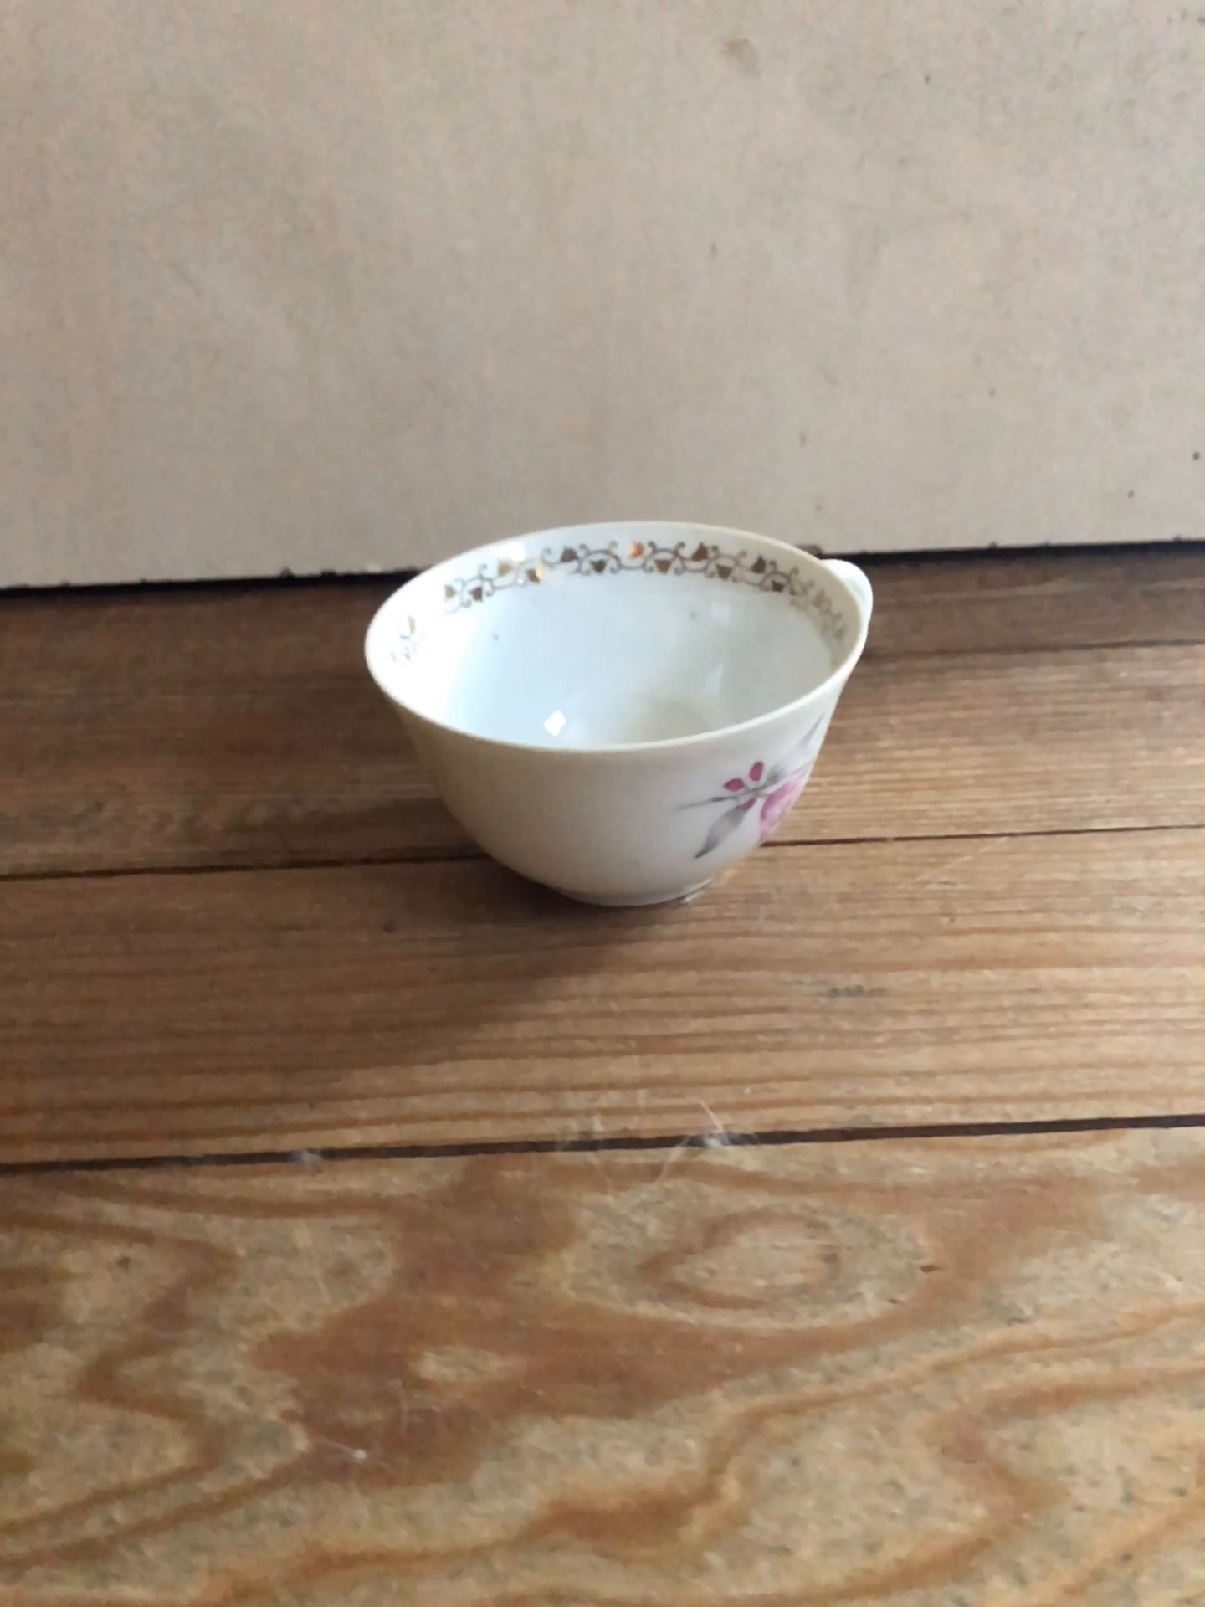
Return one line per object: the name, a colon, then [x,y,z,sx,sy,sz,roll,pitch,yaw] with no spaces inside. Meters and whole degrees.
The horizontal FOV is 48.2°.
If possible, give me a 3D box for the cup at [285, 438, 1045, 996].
cup: [0.010,-0.024,0.238,0.100,0.040,0.080,-23,40,-28]
